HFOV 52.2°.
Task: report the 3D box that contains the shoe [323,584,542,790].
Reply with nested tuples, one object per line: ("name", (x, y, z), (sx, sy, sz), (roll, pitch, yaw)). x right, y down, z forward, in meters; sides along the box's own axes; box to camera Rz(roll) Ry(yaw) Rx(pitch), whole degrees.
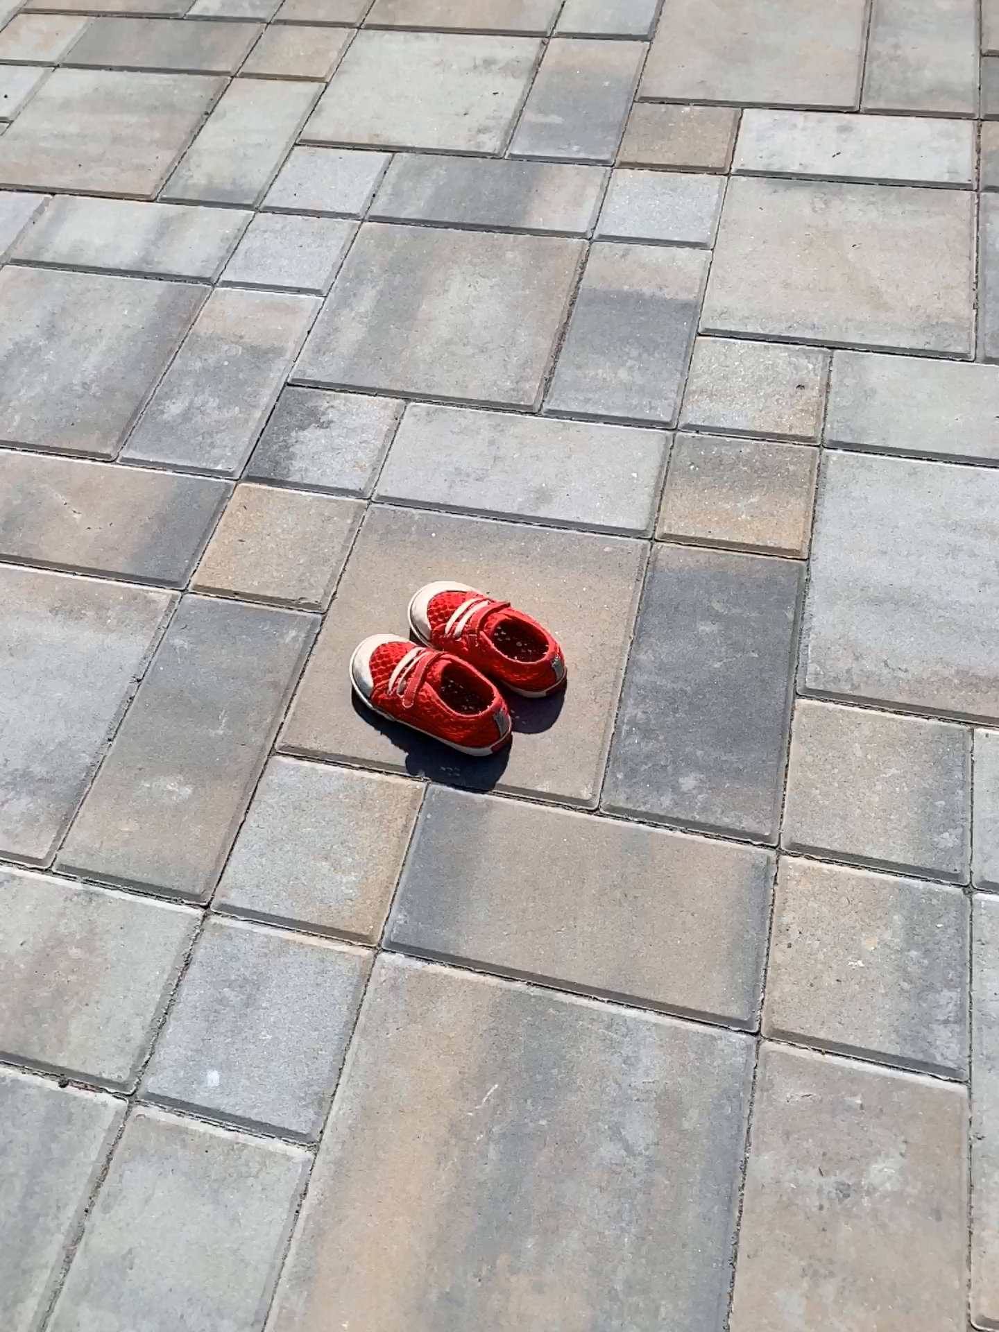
("shoe", (-0.059, 0.019, 0.944), (0.170, 0.100, 0.090), (27, 64, 20))

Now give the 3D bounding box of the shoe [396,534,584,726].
("shoe", (-0.006, -0.033, 0.956), (0.160, 0.100, 0.070), (32, 66, 22))
